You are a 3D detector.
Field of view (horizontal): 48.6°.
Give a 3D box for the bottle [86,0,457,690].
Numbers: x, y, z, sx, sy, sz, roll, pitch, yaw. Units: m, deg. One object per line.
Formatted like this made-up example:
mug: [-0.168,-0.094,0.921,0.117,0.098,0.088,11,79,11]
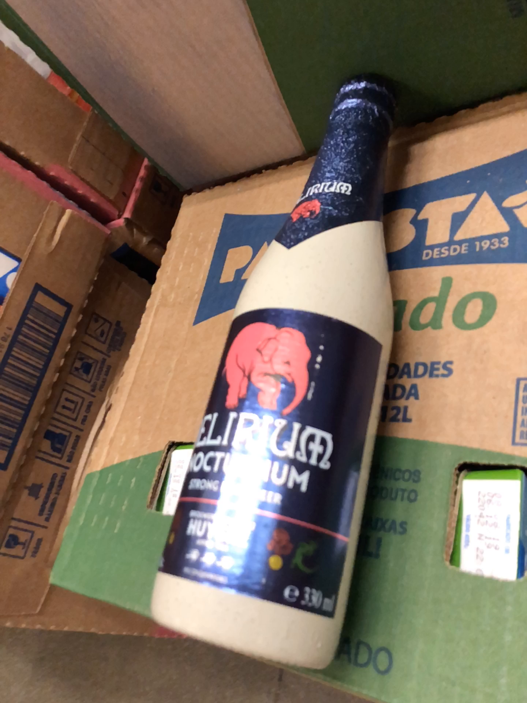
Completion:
bottle: [0.018,-0.026,0.214,0.060,0.050,0.250,-4,60,38]
